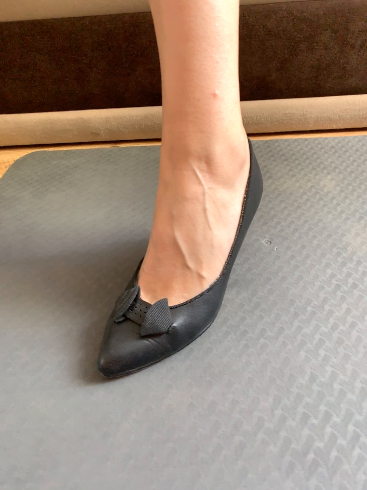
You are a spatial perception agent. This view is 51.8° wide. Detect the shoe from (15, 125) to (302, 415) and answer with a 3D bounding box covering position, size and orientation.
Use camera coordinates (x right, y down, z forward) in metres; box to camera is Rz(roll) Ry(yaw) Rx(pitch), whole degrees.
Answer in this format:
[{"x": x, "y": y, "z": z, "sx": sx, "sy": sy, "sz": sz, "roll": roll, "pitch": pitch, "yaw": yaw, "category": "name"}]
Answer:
[{"x": 0.003, "y": -0.003, "z": 0.312, "sx": 0.090, "sy": 0.099, "sz": 0.231, "roll": 22, "pitch": 46, "yaw": 29, "category": "shoe"}]
